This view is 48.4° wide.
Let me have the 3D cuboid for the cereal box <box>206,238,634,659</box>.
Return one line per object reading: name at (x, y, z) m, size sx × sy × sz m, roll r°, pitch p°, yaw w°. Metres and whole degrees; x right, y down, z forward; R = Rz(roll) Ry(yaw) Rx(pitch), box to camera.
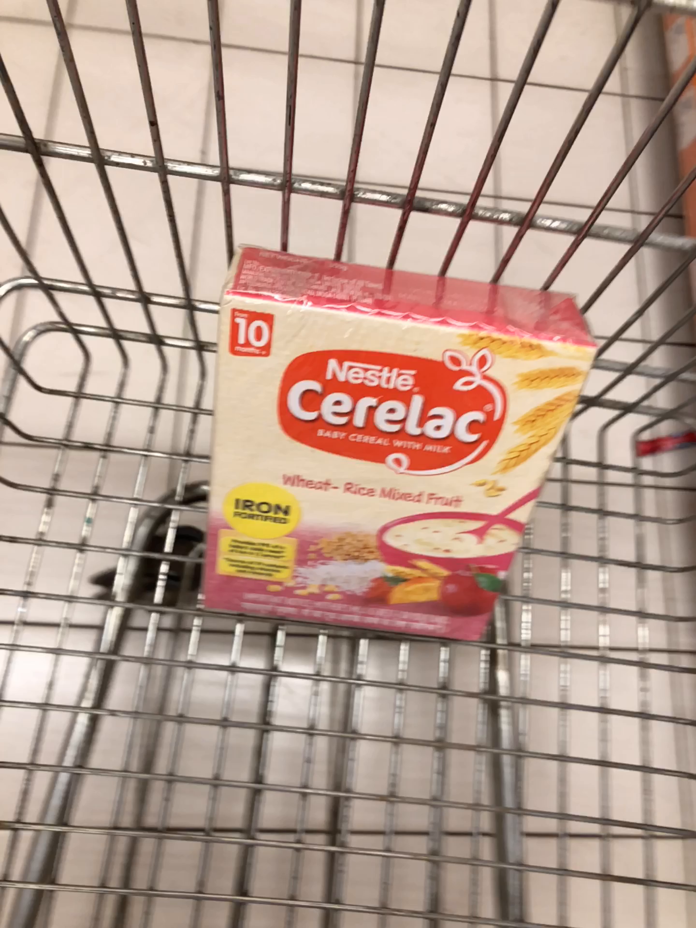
cereal box at (0.018, 0.003, 0.361) m, size 0.150 × 0.179 × 0.060 m, roll 7°, pitch 38°, yaw -6°
